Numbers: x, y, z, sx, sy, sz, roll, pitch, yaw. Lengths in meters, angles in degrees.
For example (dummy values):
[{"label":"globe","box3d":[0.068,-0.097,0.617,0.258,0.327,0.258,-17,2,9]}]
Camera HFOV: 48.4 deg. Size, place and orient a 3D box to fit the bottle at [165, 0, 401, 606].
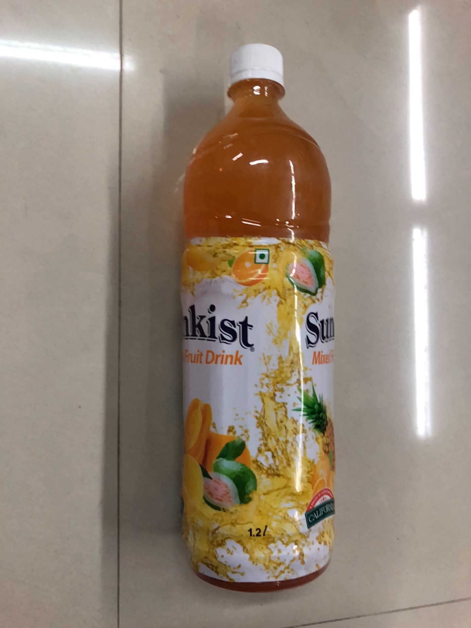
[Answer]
[{"label":"bottle","box3d":[0.019,-0.017,0.285,0.100,0.080,0.290,-1,88,-15]}]
